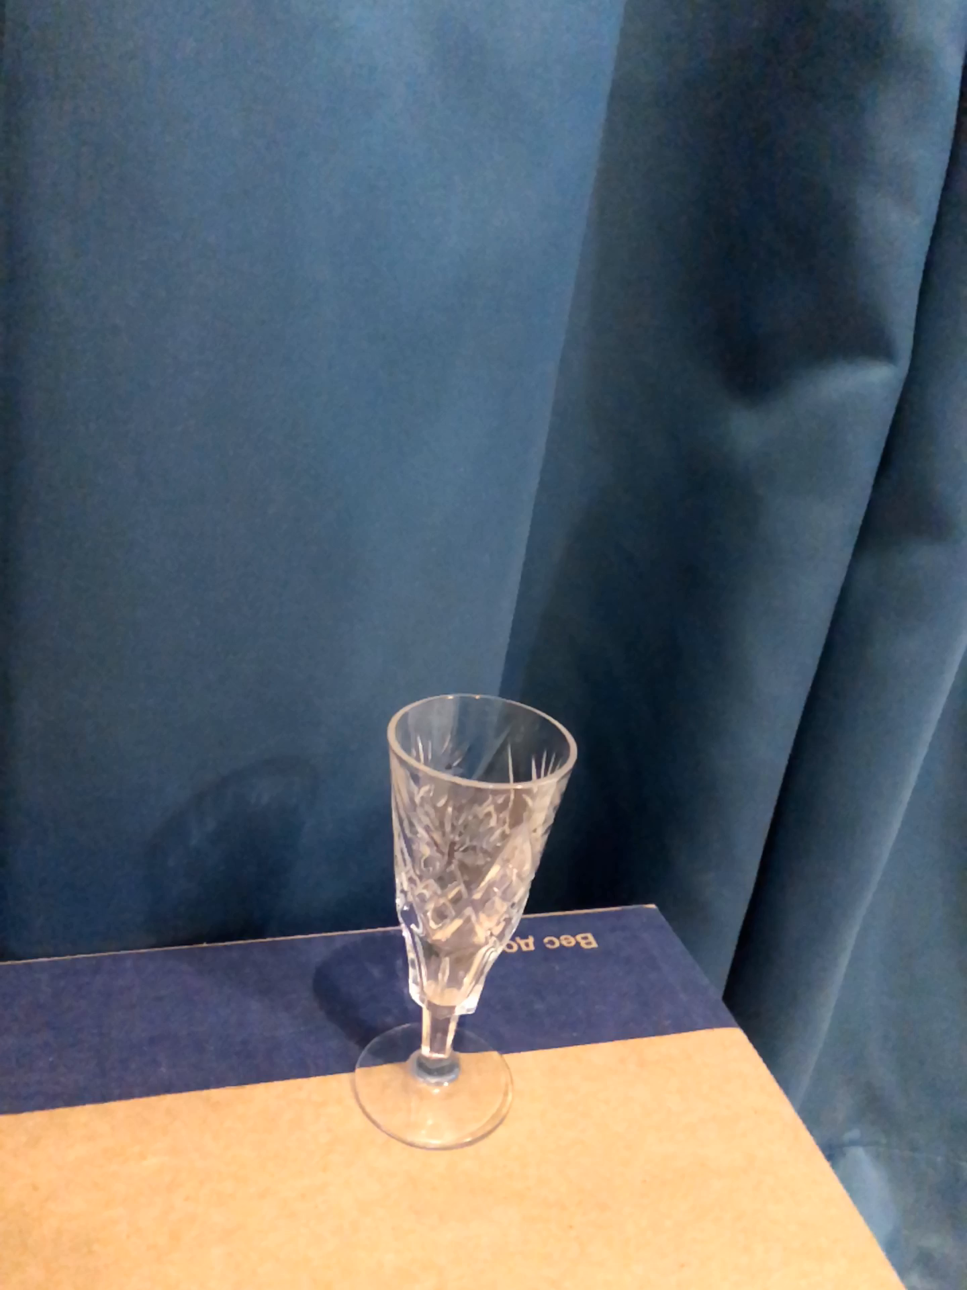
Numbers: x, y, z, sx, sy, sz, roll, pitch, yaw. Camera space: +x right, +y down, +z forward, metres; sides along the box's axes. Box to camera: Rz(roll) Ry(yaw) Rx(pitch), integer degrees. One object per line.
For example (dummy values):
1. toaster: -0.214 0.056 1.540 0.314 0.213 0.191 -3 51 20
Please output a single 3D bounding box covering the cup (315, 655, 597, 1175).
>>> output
1. cup: -0.008 0.071 0.281 0.053 0.119 0.051 6 25 -3
